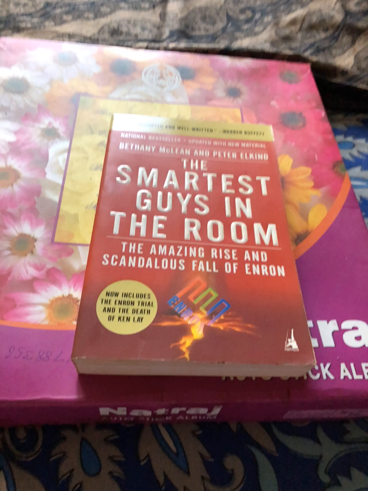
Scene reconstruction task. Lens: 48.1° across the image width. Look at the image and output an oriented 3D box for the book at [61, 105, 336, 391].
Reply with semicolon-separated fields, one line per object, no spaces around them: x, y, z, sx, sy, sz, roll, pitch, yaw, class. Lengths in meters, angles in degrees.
0.009;-0.013;0.302;0.150;0.040;0.221;1;56;-1;book
